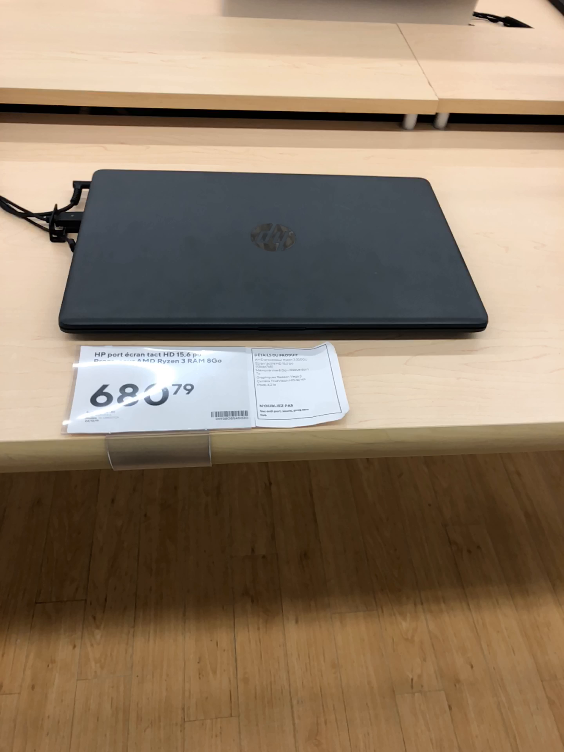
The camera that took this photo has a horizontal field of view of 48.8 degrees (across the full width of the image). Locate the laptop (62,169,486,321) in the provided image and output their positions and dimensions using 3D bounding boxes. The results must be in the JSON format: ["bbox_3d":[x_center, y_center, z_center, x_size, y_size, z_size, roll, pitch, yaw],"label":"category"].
[{"bbox_3d":[-0.009,-0.141,0.630,0.373,0.005,0.245,-1,47,-7],"label":"laptop"}]
